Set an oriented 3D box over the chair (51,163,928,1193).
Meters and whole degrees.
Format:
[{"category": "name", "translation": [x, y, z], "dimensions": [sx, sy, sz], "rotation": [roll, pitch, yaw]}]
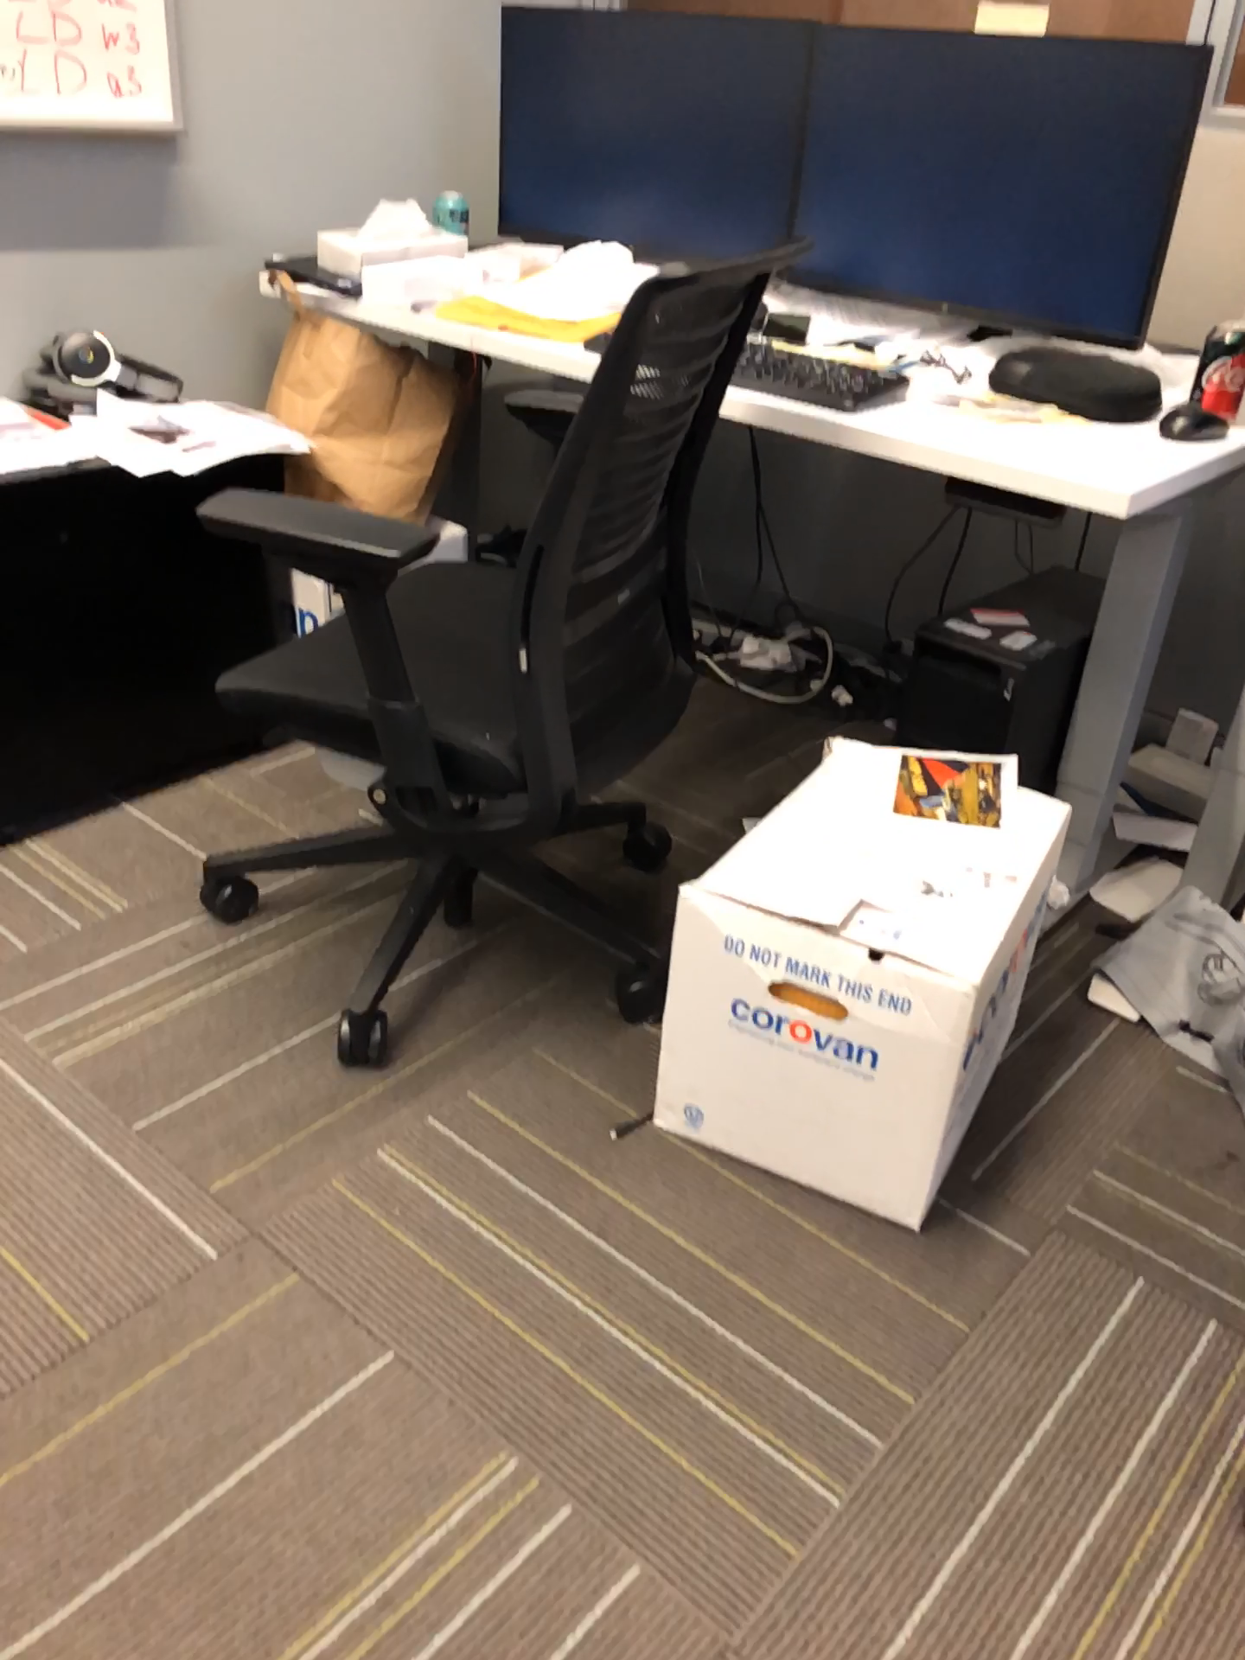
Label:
[{"category": "chair", "translation": [-0.117, -0.267, 1.760], "dimensions": [0.701, 0.994, 0.784], "rotation": [15, 31, 17]}]
